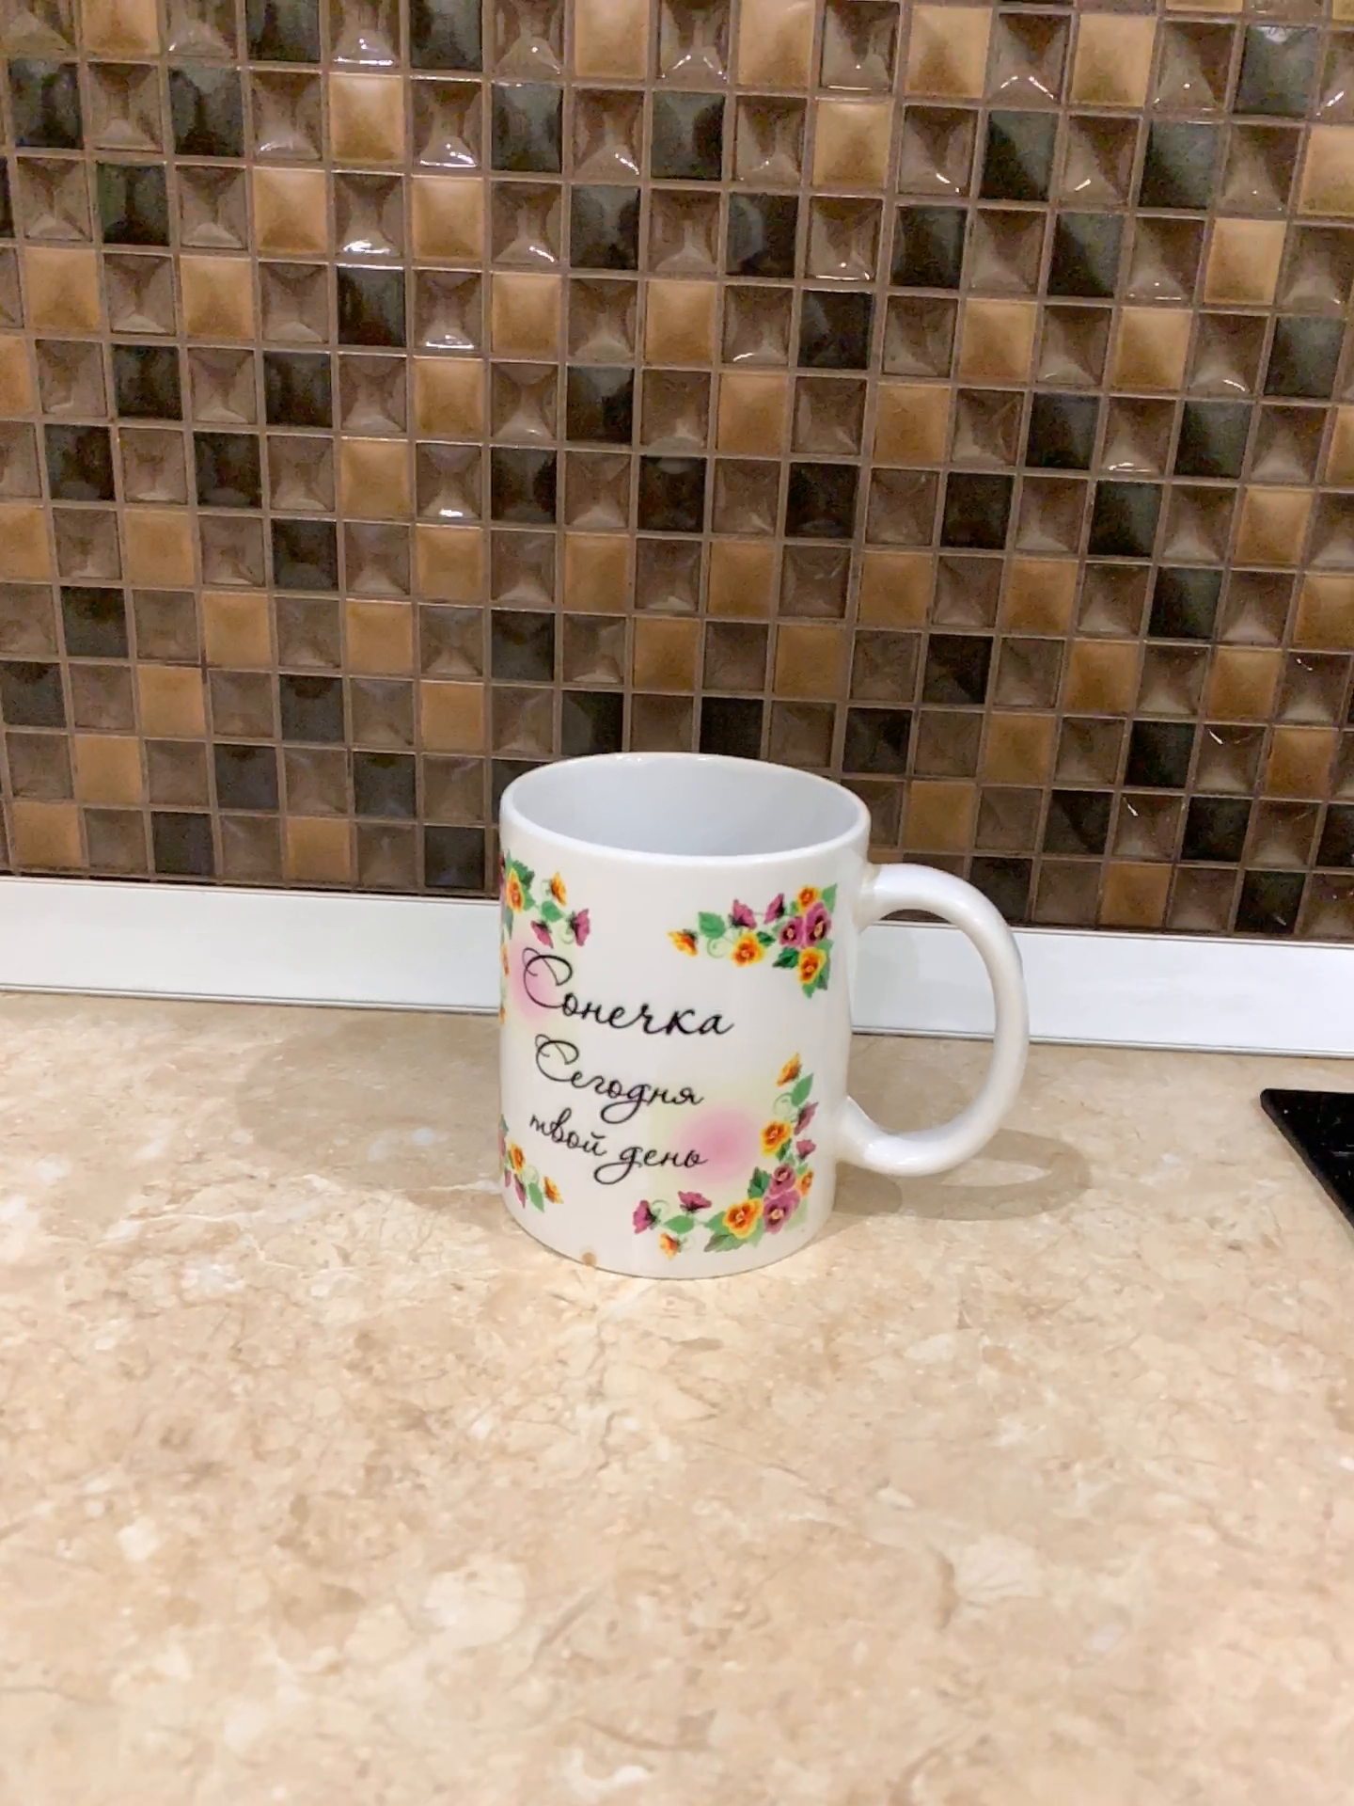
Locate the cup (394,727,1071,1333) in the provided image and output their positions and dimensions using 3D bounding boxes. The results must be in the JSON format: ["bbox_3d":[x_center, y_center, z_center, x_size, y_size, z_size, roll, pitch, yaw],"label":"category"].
[{"bbox_3d":[0.011,0.022,0.311,0.123,0.093,0.091,5,21,4],"label":"cup"}]
